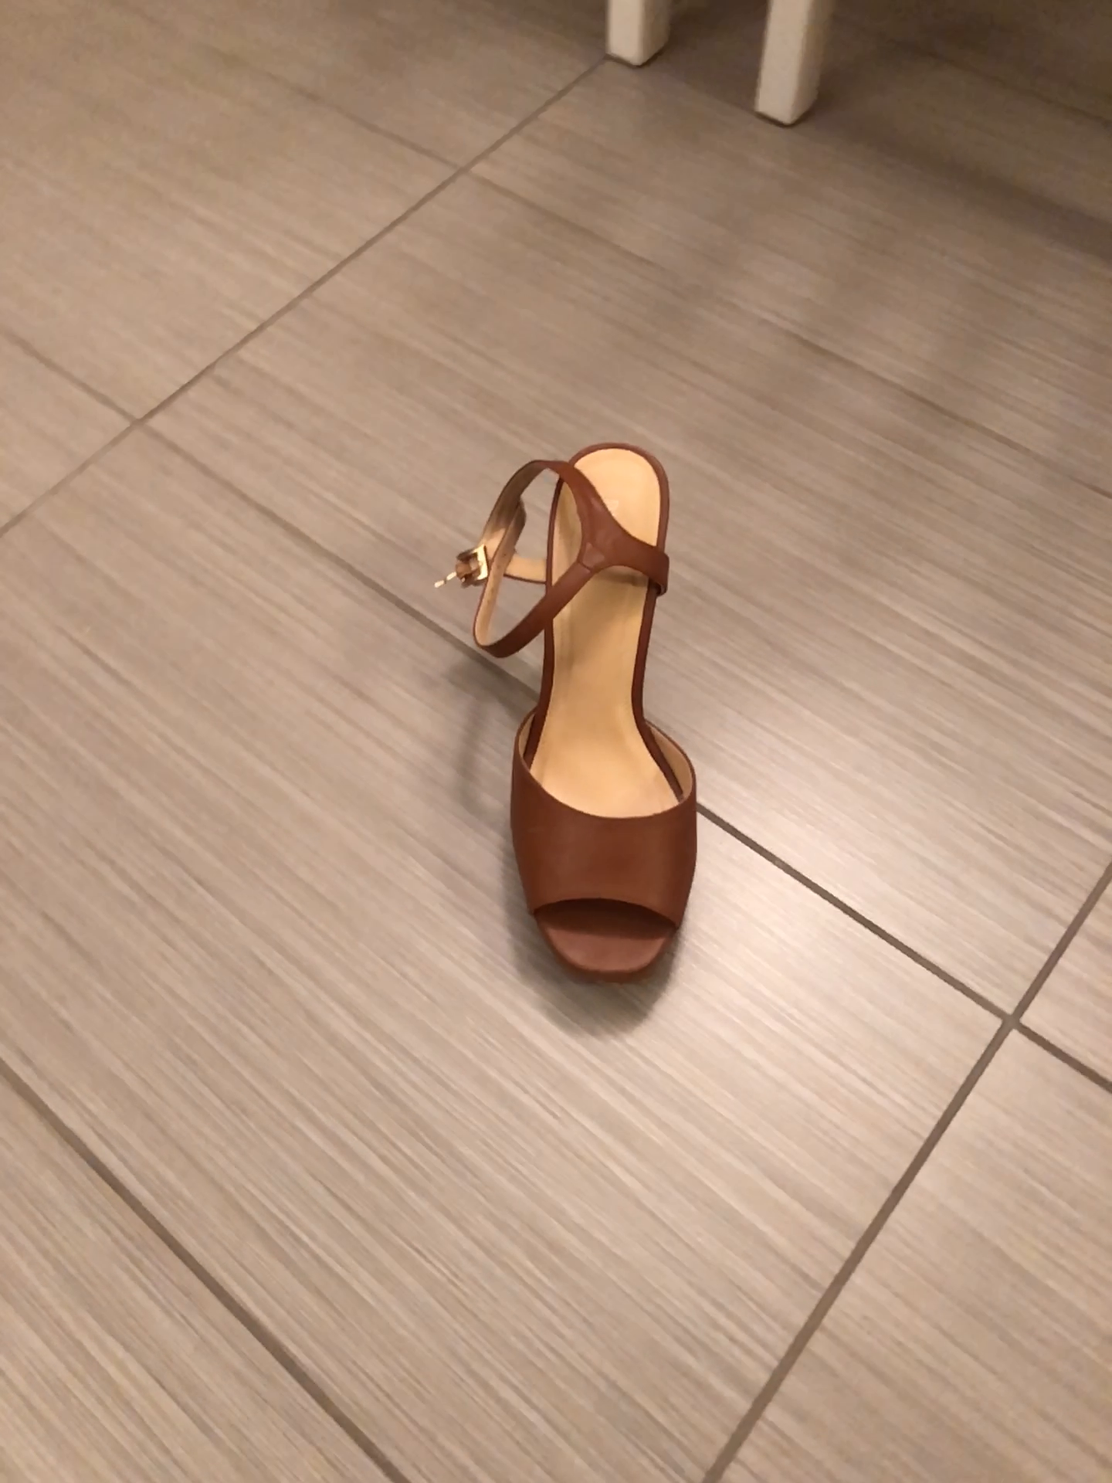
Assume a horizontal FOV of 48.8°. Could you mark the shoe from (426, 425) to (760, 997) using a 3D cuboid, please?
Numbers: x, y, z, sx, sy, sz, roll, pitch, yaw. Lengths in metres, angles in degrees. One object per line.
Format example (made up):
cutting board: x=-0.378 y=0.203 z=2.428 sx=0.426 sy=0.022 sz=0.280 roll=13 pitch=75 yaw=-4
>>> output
shoe: x=0.025 y=-0.018 z=0.568 sx=0.110 sy=0.090 sz=0.241 roll=6 pitch=66 yaw=8
